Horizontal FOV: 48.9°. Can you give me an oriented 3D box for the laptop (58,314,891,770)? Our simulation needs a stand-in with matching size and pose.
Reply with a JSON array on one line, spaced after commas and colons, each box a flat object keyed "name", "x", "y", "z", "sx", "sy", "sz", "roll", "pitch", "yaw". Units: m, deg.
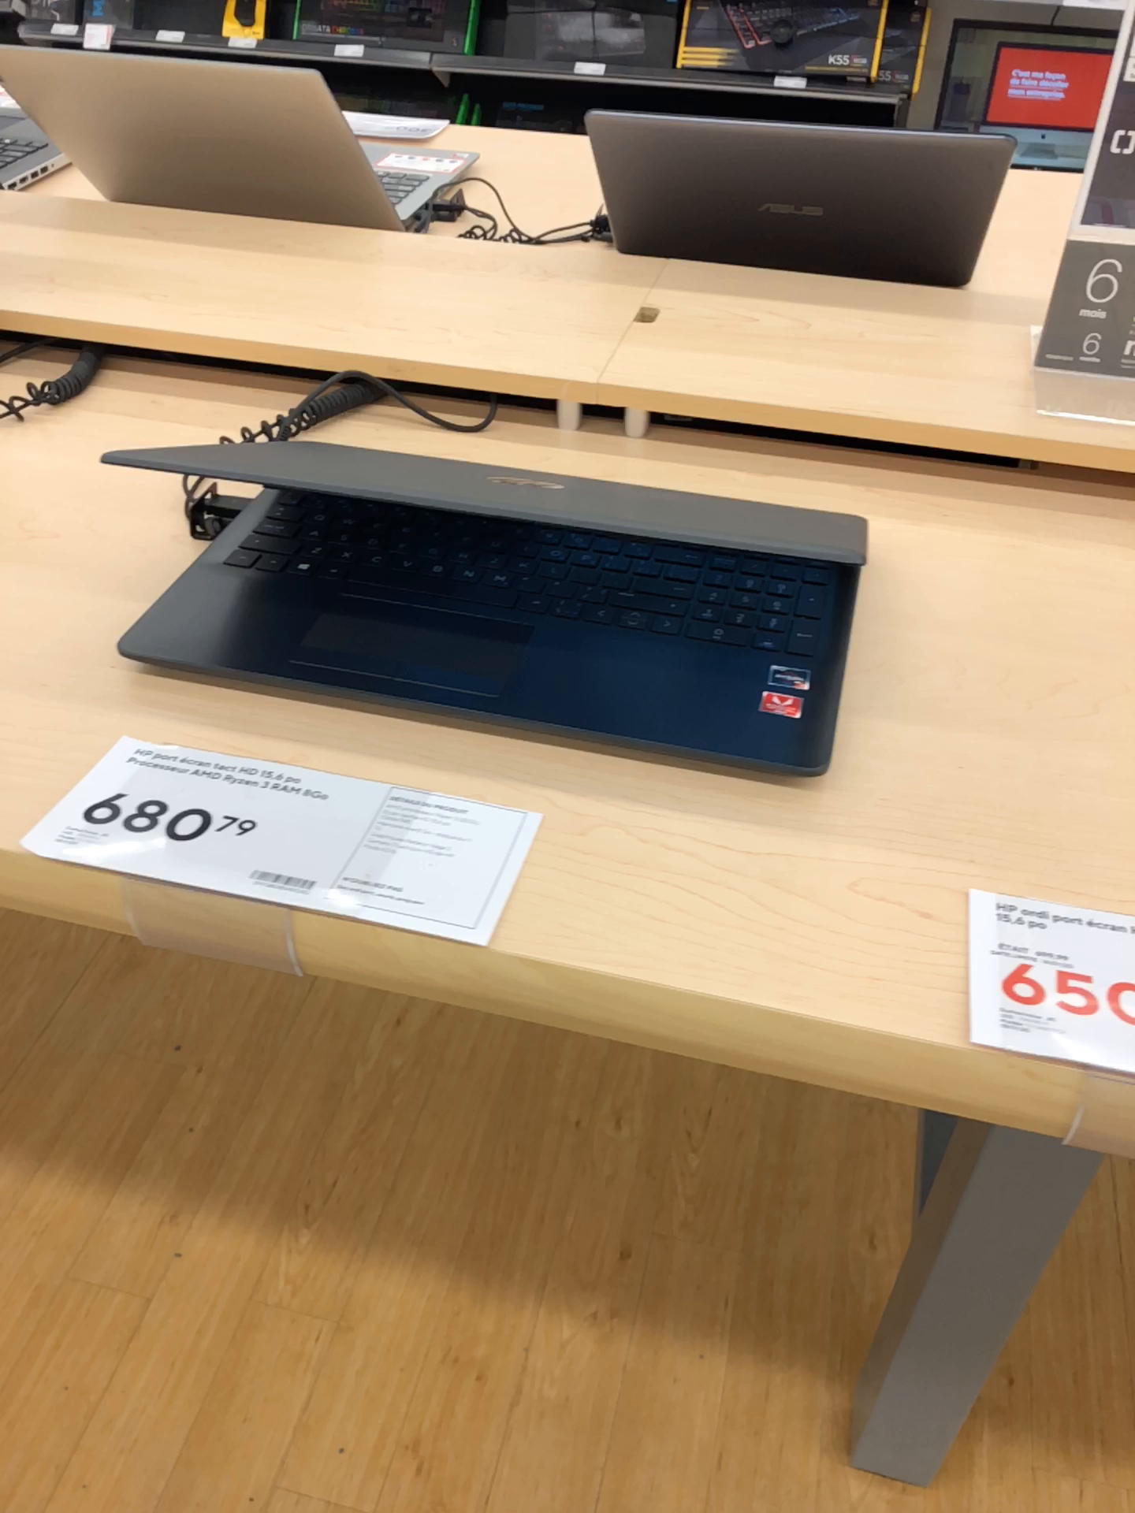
[{"name": "laptop", "x": -0.027, "y": -0.132, "z": 0.672, "sx": 0.366, "sy": 0.090, "sz": 0.243, "roll": 10, "pitch": 40, "yaw": 9}]
